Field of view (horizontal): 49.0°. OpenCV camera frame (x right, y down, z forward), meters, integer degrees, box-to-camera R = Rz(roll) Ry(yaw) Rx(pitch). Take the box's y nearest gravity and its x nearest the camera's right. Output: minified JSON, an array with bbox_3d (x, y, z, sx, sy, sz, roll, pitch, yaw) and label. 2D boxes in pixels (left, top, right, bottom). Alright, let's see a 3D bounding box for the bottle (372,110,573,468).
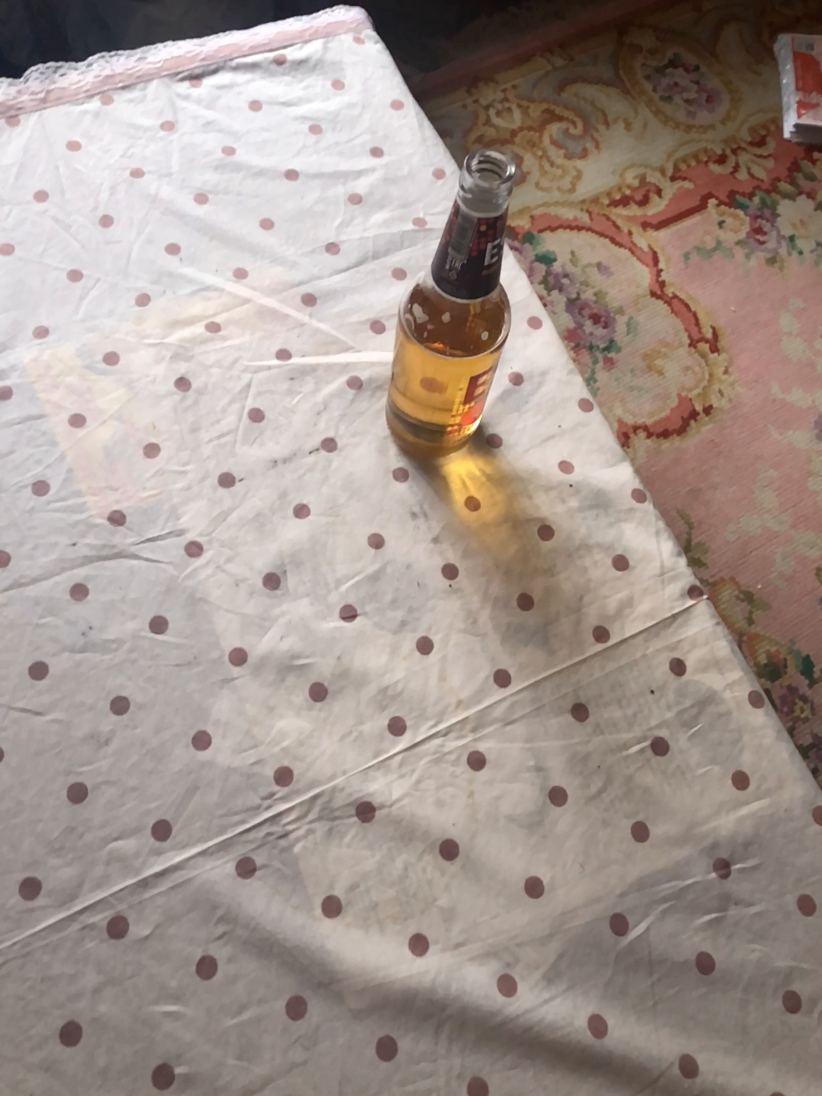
[{"bbox_3d":[0.027,-0.137,0.535,0.080,0.209,0.080,2,68,-4],"label":"bottle"}]
